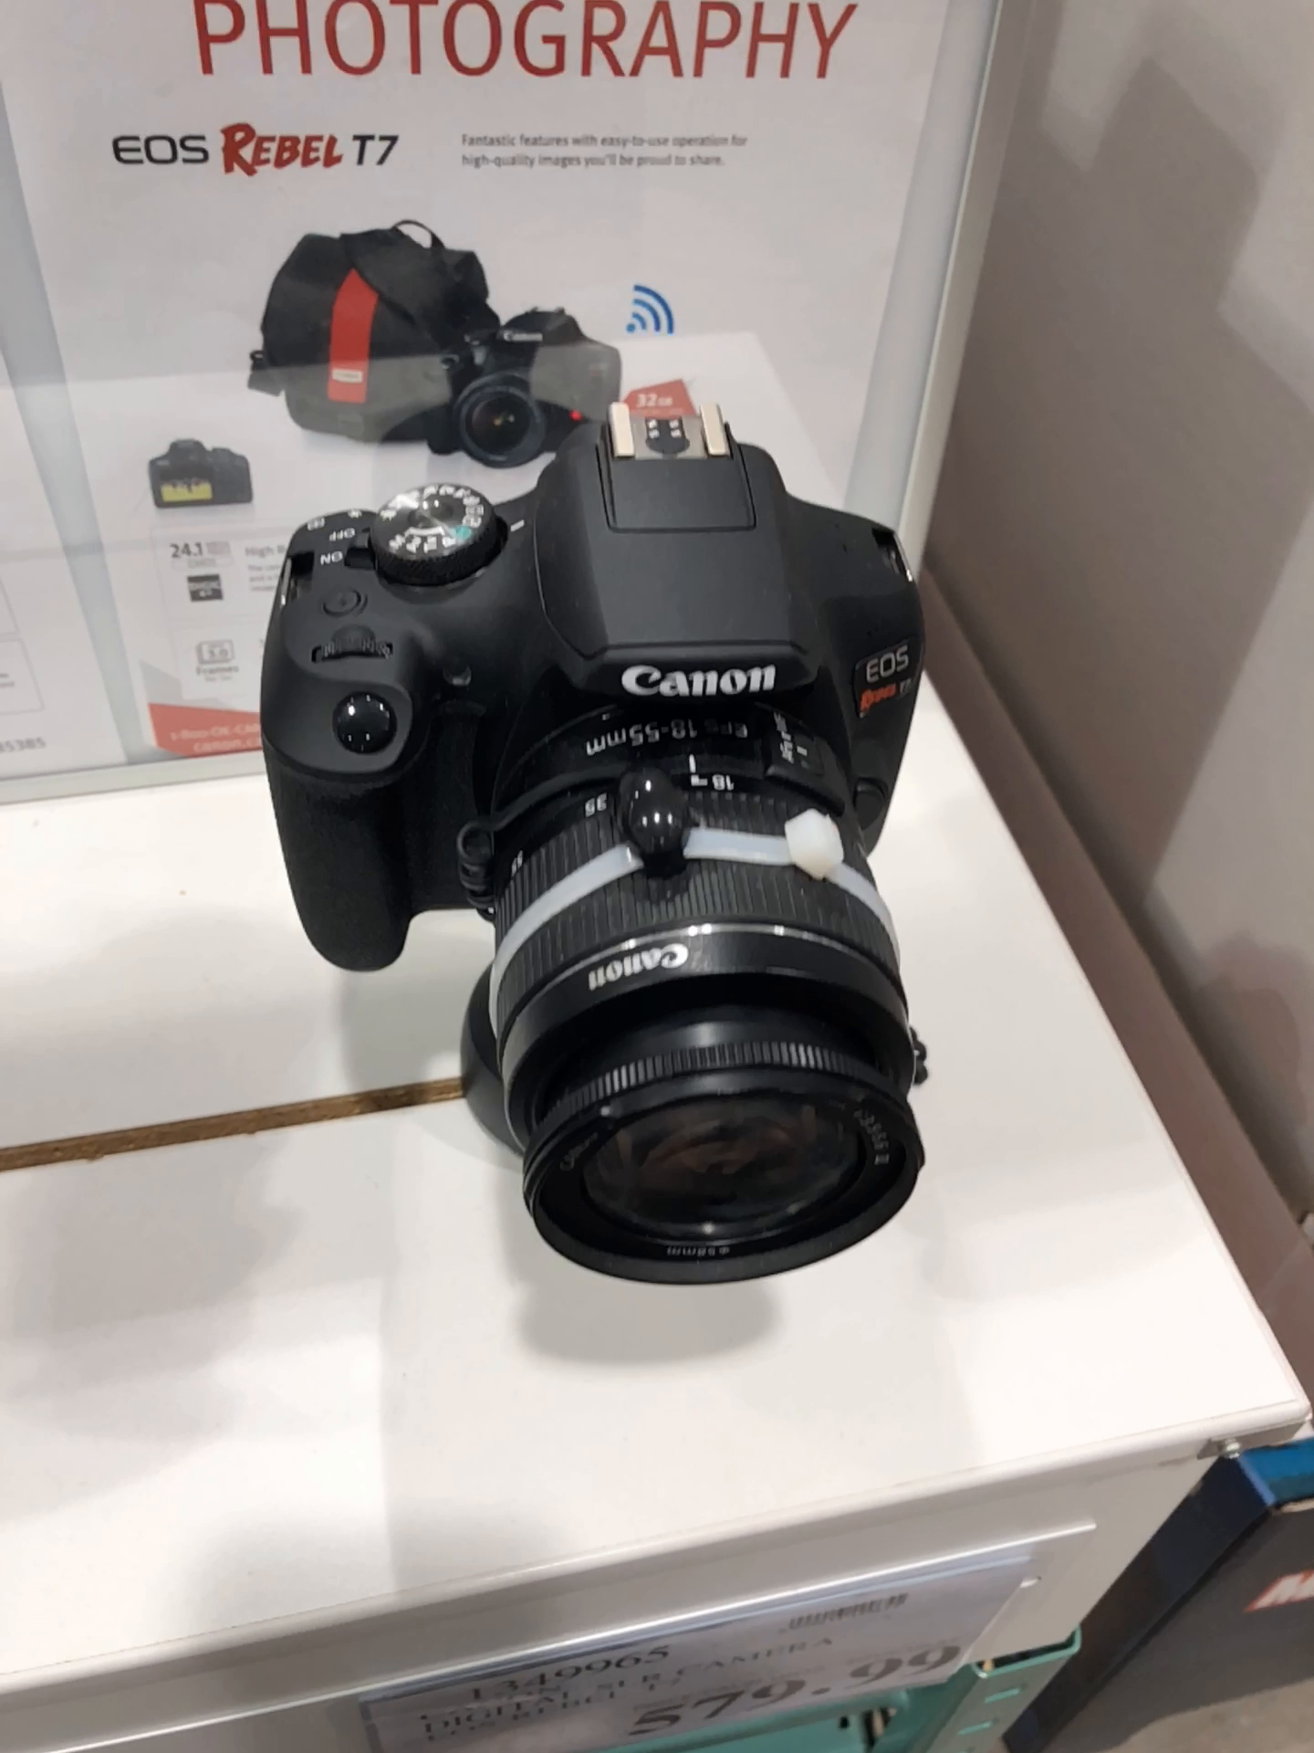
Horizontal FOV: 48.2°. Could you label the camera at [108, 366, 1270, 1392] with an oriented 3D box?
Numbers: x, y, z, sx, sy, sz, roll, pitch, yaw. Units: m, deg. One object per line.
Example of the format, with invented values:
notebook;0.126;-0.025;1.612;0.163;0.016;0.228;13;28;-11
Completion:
camera;-0.006;-0.008;0.253;0.140;0.090;0.140;-6;48;-8
